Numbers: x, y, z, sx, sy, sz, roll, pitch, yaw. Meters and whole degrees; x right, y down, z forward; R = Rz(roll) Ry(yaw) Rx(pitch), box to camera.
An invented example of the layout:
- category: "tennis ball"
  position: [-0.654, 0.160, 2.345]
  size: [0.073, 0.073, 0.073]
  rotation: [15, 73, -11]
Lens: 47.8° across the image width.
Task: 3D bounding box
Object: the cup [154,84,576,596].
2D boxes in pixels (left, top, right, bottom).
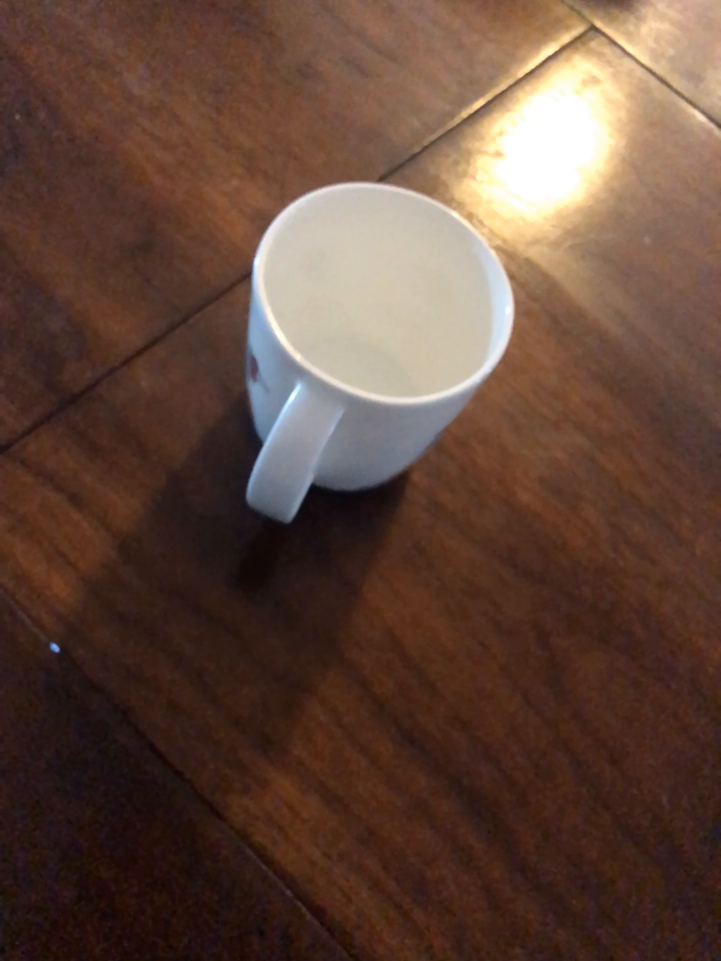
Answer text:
- category: "cup"
  position: [0.000, -0.047, 0.292]
  size: [0.090, 0.090, 0.130]
  rotation: [26, 64, -1]
